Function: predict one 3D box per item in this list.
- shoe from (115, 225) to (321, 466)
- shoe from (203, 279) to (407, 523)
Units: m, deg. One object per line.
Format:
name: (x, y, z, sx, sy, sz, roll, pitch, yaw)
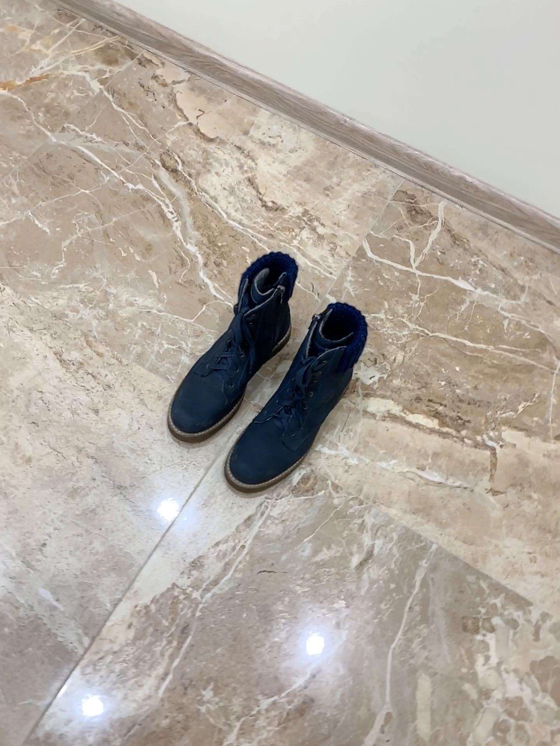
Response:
shoe: (-0.074, -0.030, 0.774, 0.101, 0.200, 0.260, 36, 68, 11)
shoe: (0.029, 0.044, 0.749, 0.101, 0.200, 0.260, 36, 68, 11)
